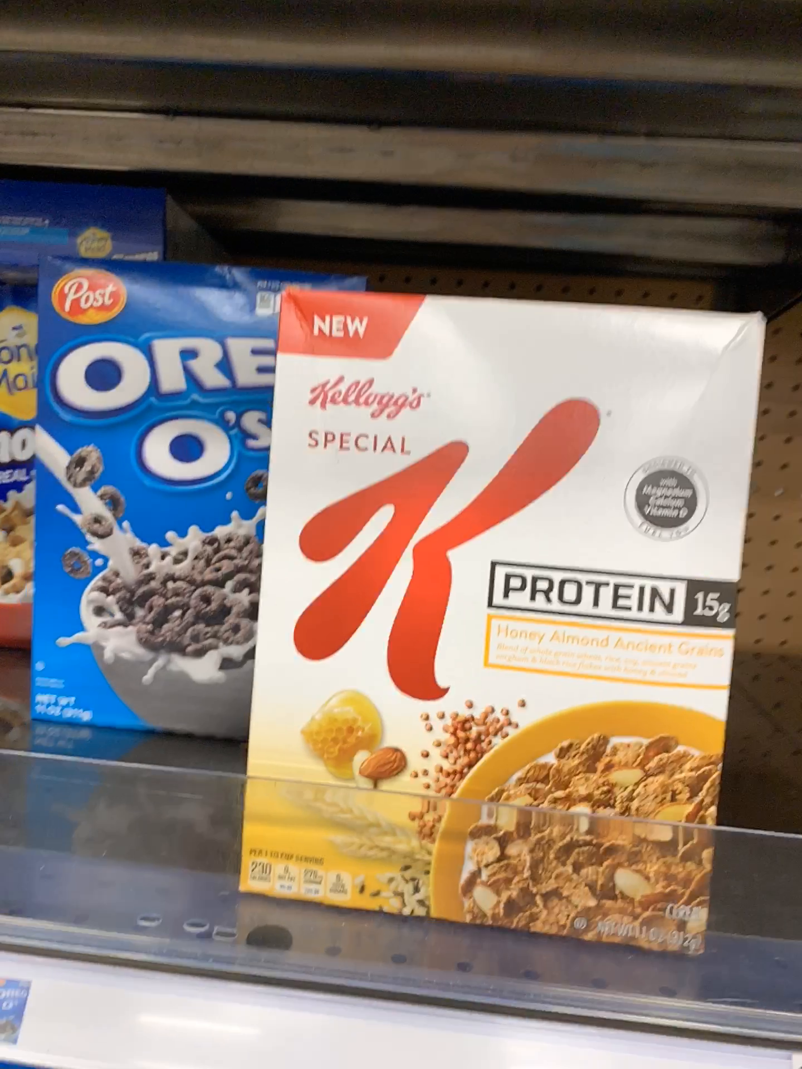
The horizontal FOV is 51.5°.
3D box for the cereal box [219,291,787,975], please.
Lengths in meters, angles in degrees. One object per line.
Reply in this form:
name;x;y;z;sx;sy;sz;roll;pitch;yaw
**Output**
cereal box;0.036;0.035;0.344;0.200;0.250;0.040;5;3;7
